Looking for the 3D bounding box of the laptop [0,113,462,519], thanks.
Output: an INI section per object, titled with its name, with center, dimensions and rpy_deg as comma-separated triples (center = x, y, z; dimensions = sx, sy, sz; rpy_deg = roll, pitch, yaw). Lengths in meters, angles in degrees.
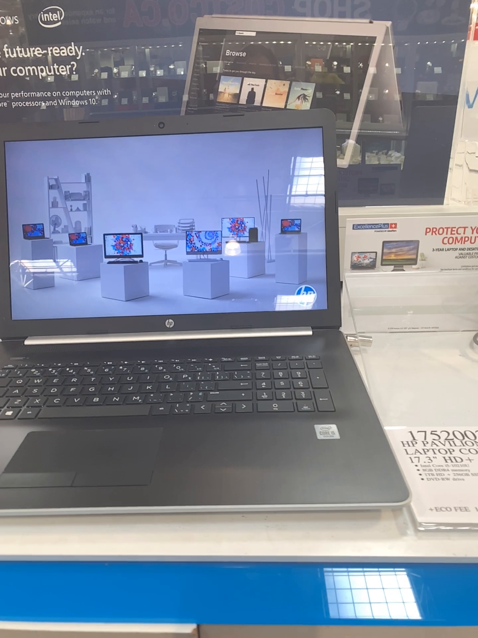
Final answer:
[laptop]
center = -0.087, -0.053, 0.450
dimensions = 0.394, 0.234, 0.371
rpy_deg = -2, 23, 1
